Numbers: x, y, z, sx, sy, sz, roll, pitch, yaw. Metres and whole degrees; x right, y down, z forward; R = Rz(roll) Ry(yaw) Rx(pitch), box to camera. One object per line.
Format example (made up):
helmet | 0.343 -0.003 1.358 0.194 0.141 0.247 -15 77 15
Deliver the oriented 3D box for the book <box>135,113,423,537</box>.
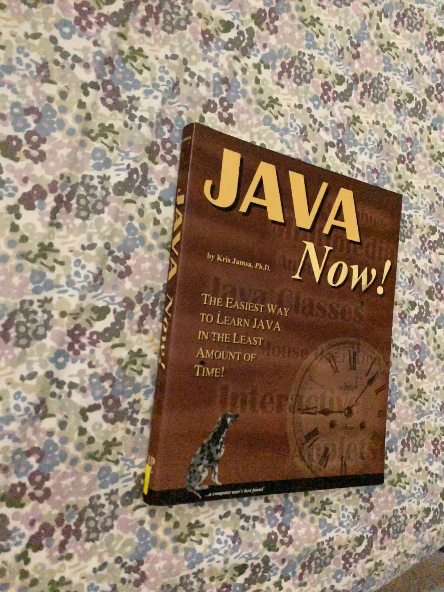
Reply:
book | 0.060 0.028 0.347 0.221 0.030 0.260 9 85 -30
